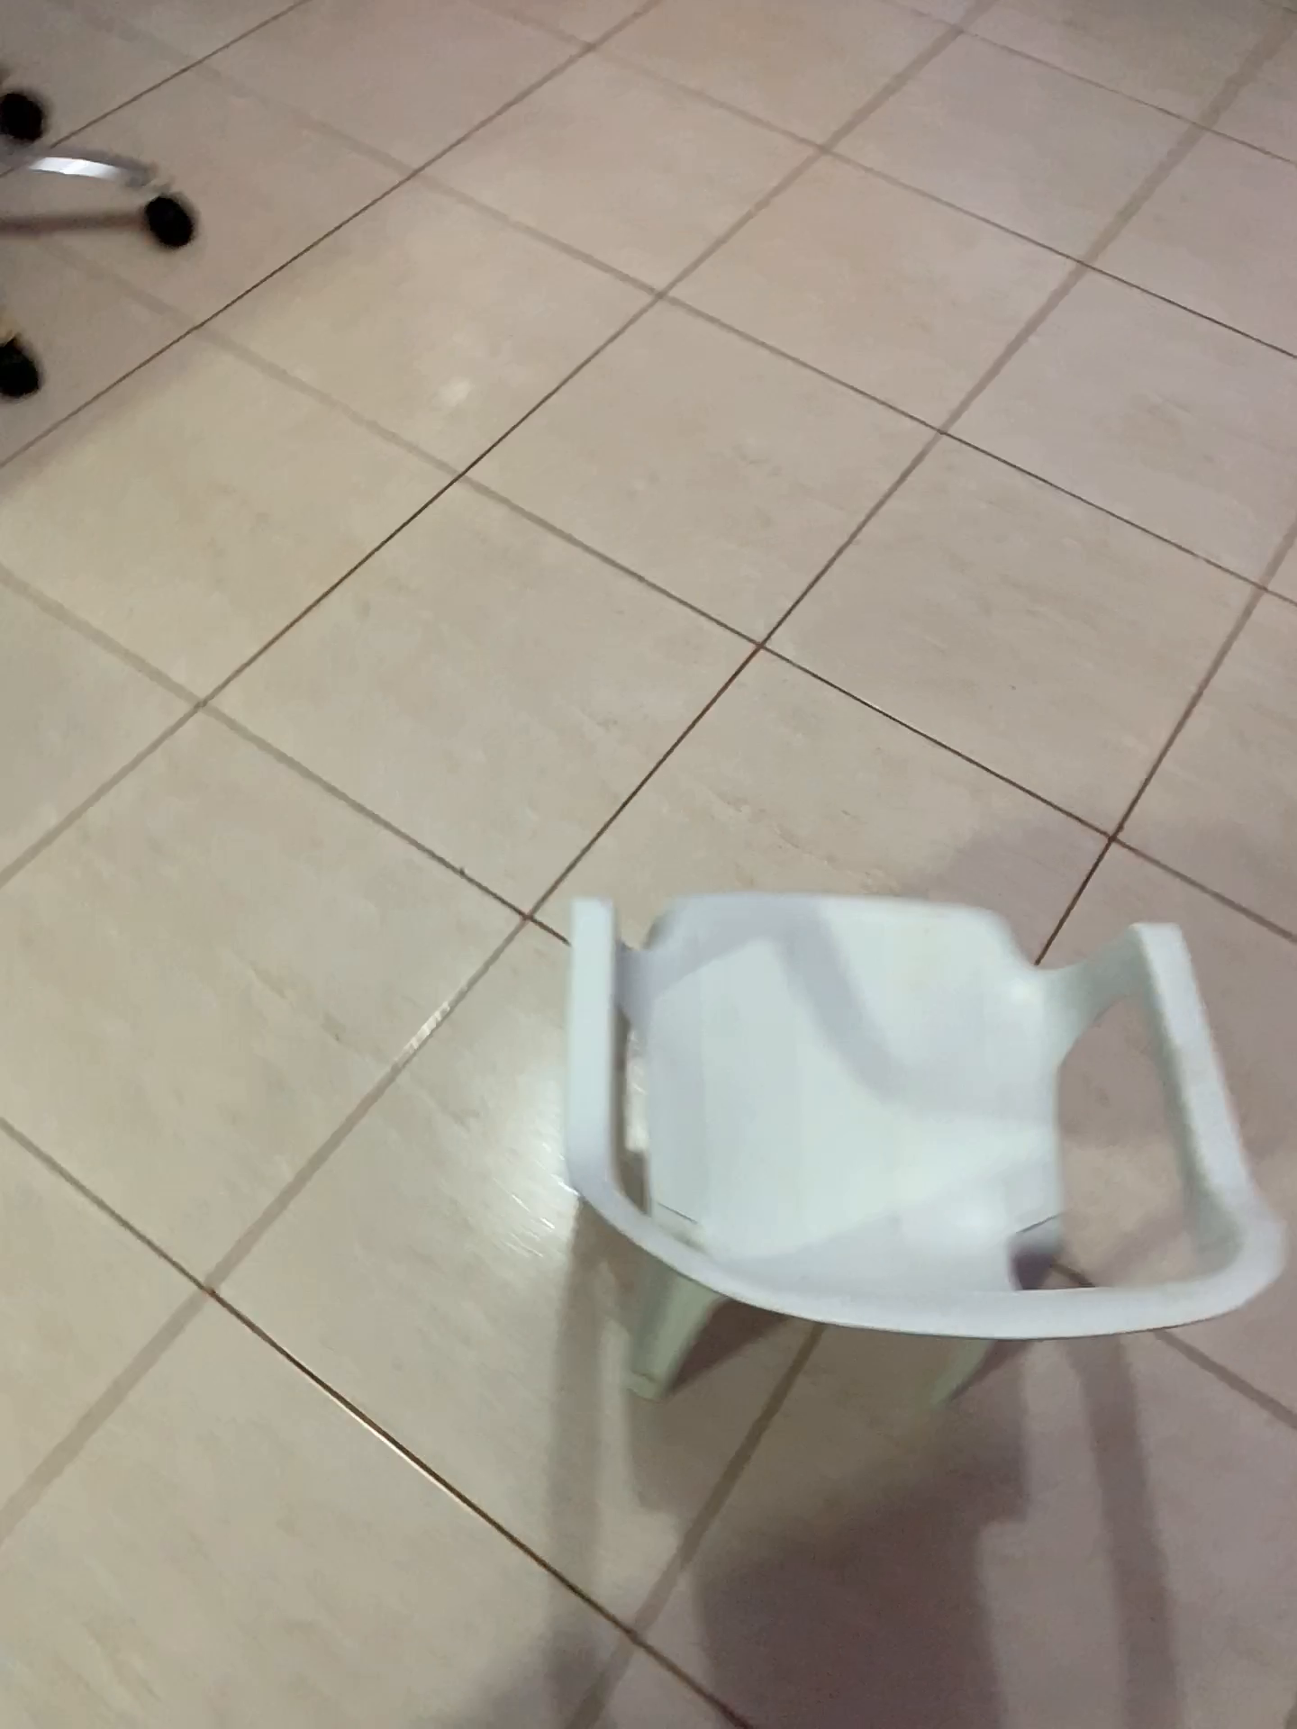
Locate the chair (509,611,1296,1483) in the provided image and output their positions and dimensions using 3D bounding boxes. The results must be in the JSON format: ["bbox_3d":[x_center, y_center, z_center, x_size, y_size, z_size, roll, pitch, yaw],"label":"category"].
[{"bbox_3d":[0.130,0.178,0.884,0.400,0.596,0.362,2,59,-2],"label":"chair"}]
